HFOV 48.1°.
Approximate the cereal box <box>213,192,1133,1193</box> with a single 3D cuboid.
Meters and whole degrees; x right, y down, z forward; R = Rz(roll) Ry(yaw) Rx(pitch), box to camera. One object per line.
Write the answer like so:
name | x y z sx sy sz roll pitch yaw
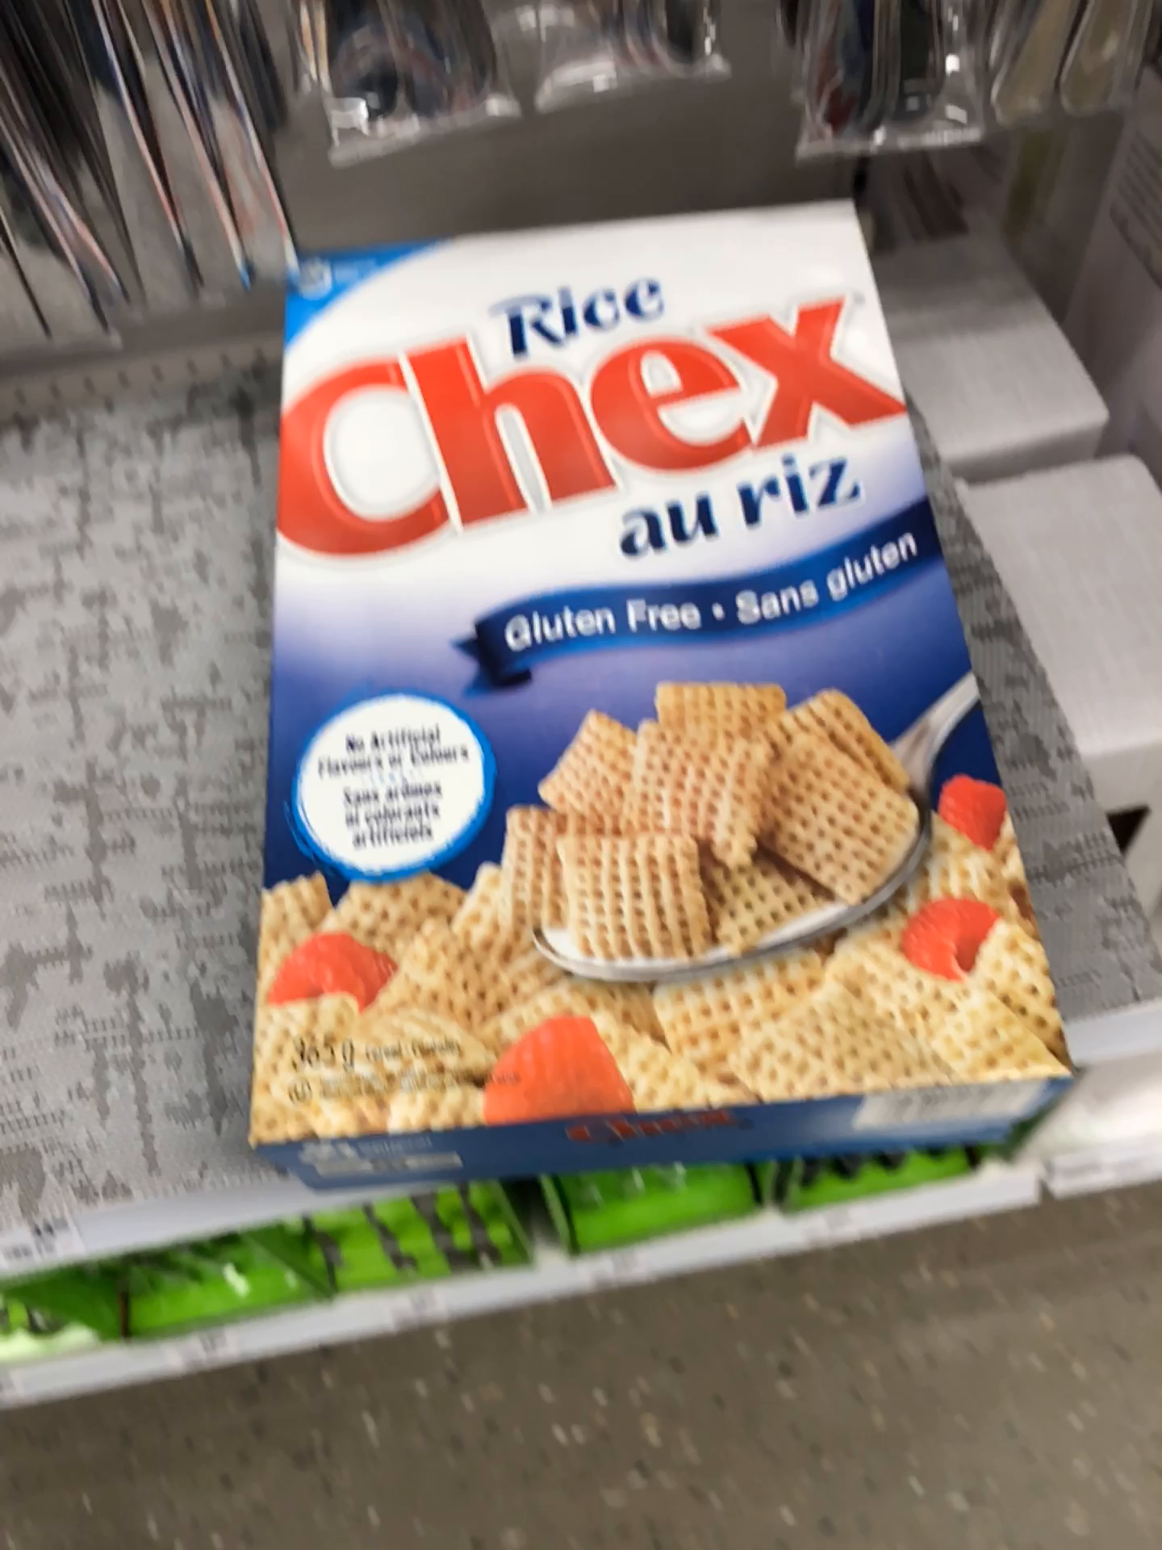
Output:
cereal box | 0.012 -0.041 0.399 0.210 0.070 0.301 -4 61 0
